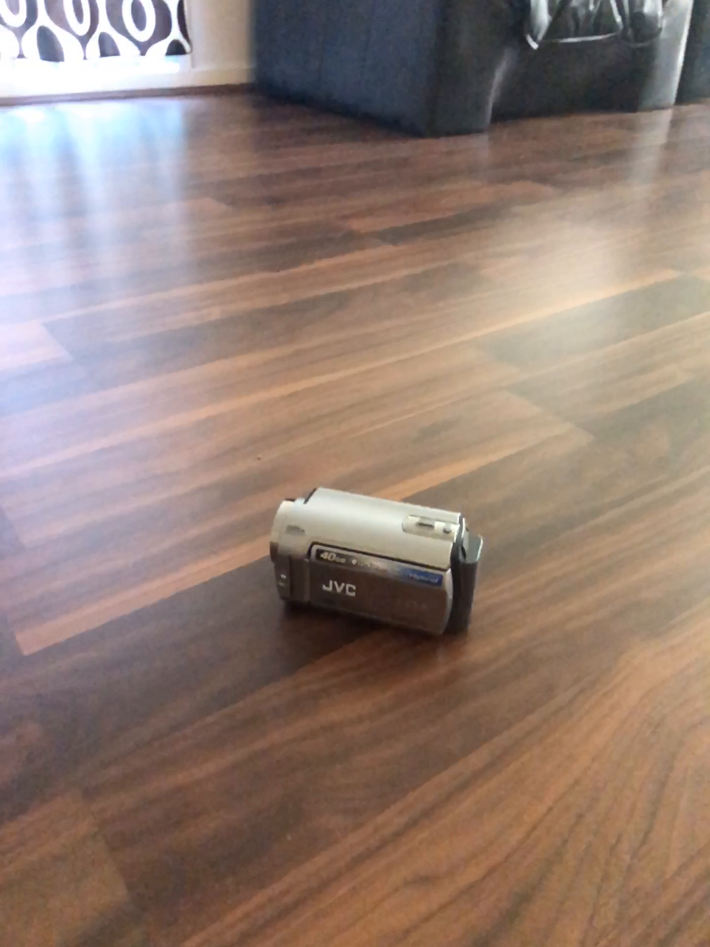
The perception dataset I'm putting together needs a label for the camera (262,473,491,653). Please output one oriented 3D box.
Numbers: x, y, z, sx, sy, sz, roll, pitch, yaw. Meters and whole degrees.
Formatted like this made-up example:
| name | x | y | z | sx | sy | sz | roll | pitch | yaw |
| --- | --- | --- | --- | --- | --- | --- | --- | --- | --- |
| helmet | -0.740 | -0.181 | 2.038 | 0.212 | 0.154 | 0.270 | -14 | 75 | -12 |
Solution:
| name | x | y | z | sx | sy | sz | roll | pitch | yaw |
| --- | --- | --- | --- | --- | --- | --- | --- | --- | --- |
| camera | 0.013 | 0.051 | 0.469 | 0.120 | 0.060 | 0.060 | 10 | 33 | 15 |
